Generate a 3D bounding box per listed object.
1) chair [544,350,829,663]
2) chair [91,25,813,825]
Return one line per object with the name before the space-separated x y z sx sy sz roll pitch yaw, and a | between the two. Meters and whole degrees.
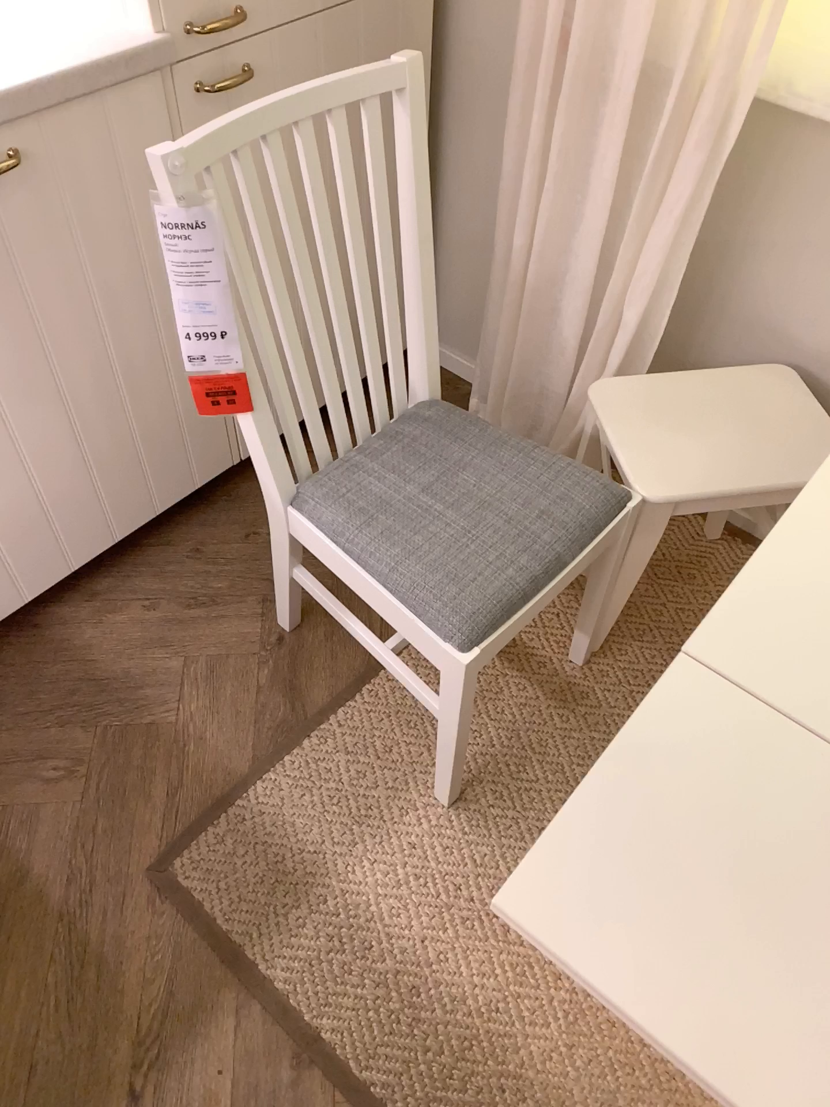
chair | 0.550 -0.092 1.620 0.460 0.388 0.402 -6 51 -7
chair | 0.029 -0.159 1.320 0.621 0.916 0.552 36 57 24
